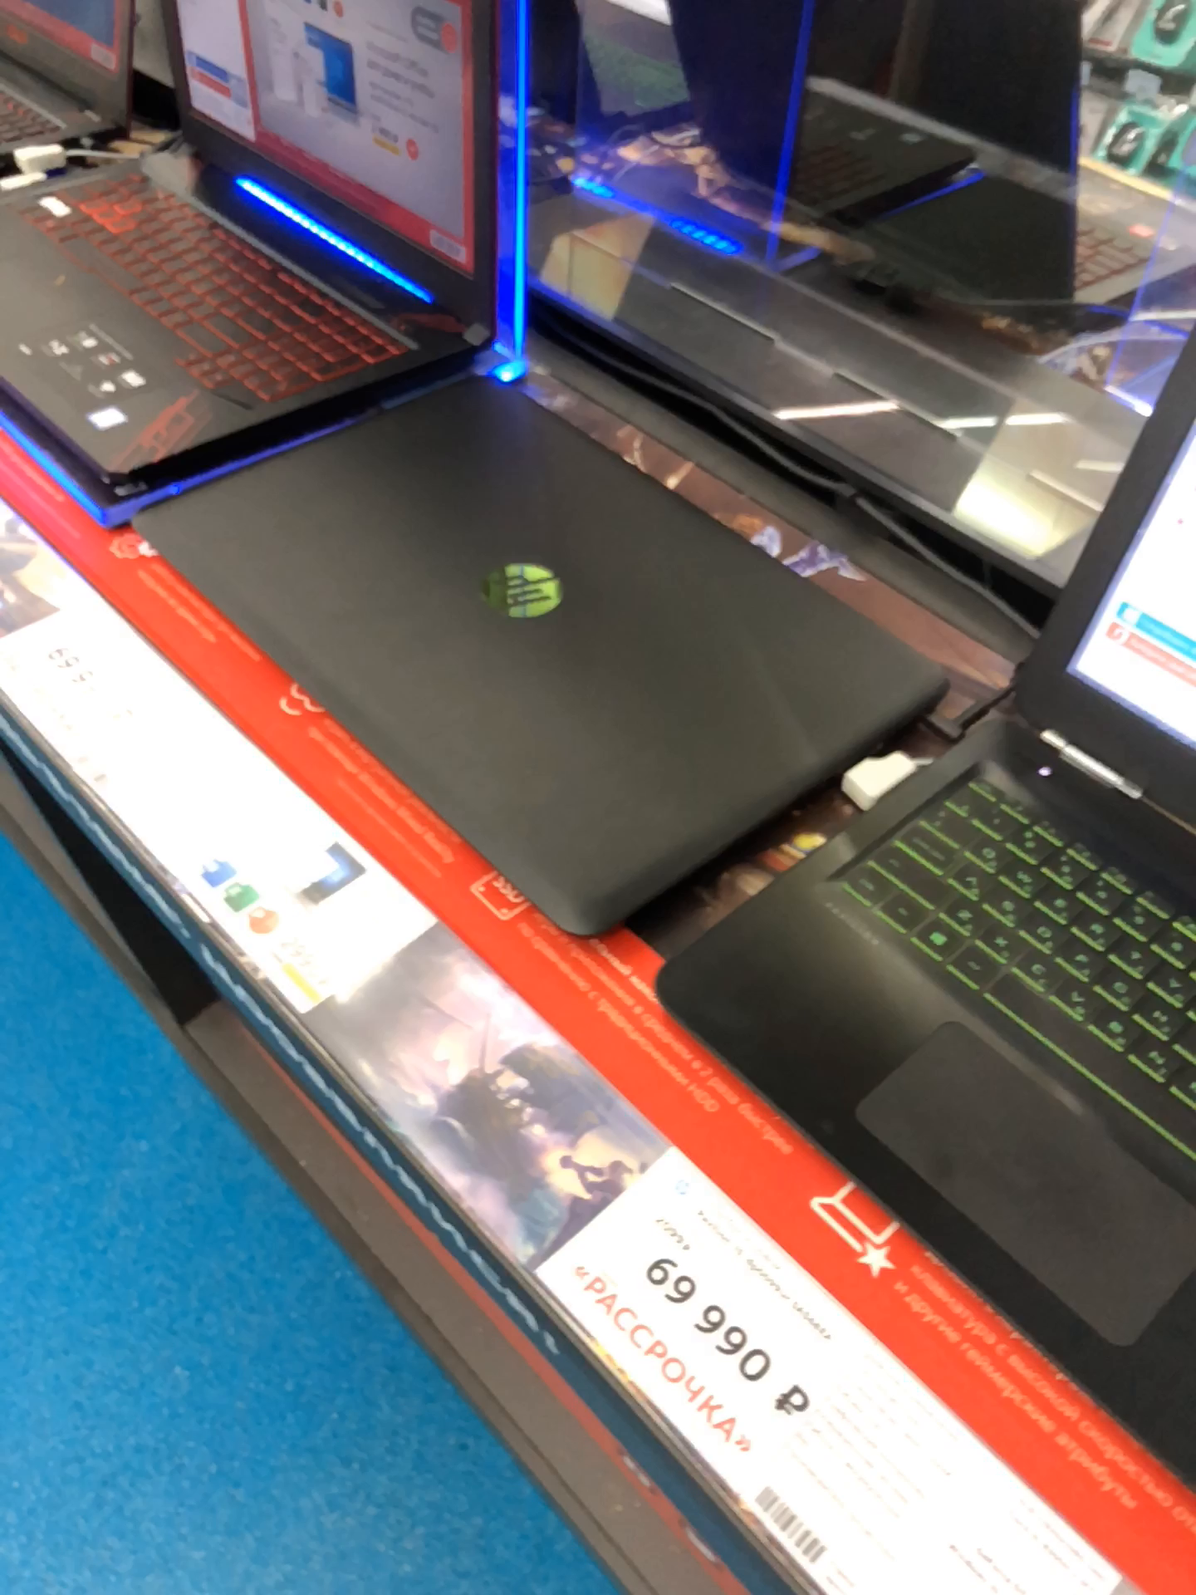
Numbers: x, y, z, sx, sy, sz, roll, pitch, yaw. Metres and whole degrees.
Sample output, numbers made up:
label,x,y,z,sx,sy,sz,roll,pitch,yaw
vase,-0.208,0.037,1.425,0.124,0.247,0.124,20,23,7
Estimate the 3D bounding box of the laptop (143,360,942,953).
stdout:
label,x,y,z,sx,sy,sz,roll,pitch,yaw
laptop,-0.039,-0.103,0.683,0.233,0.012,0.366,-32,58,-27
